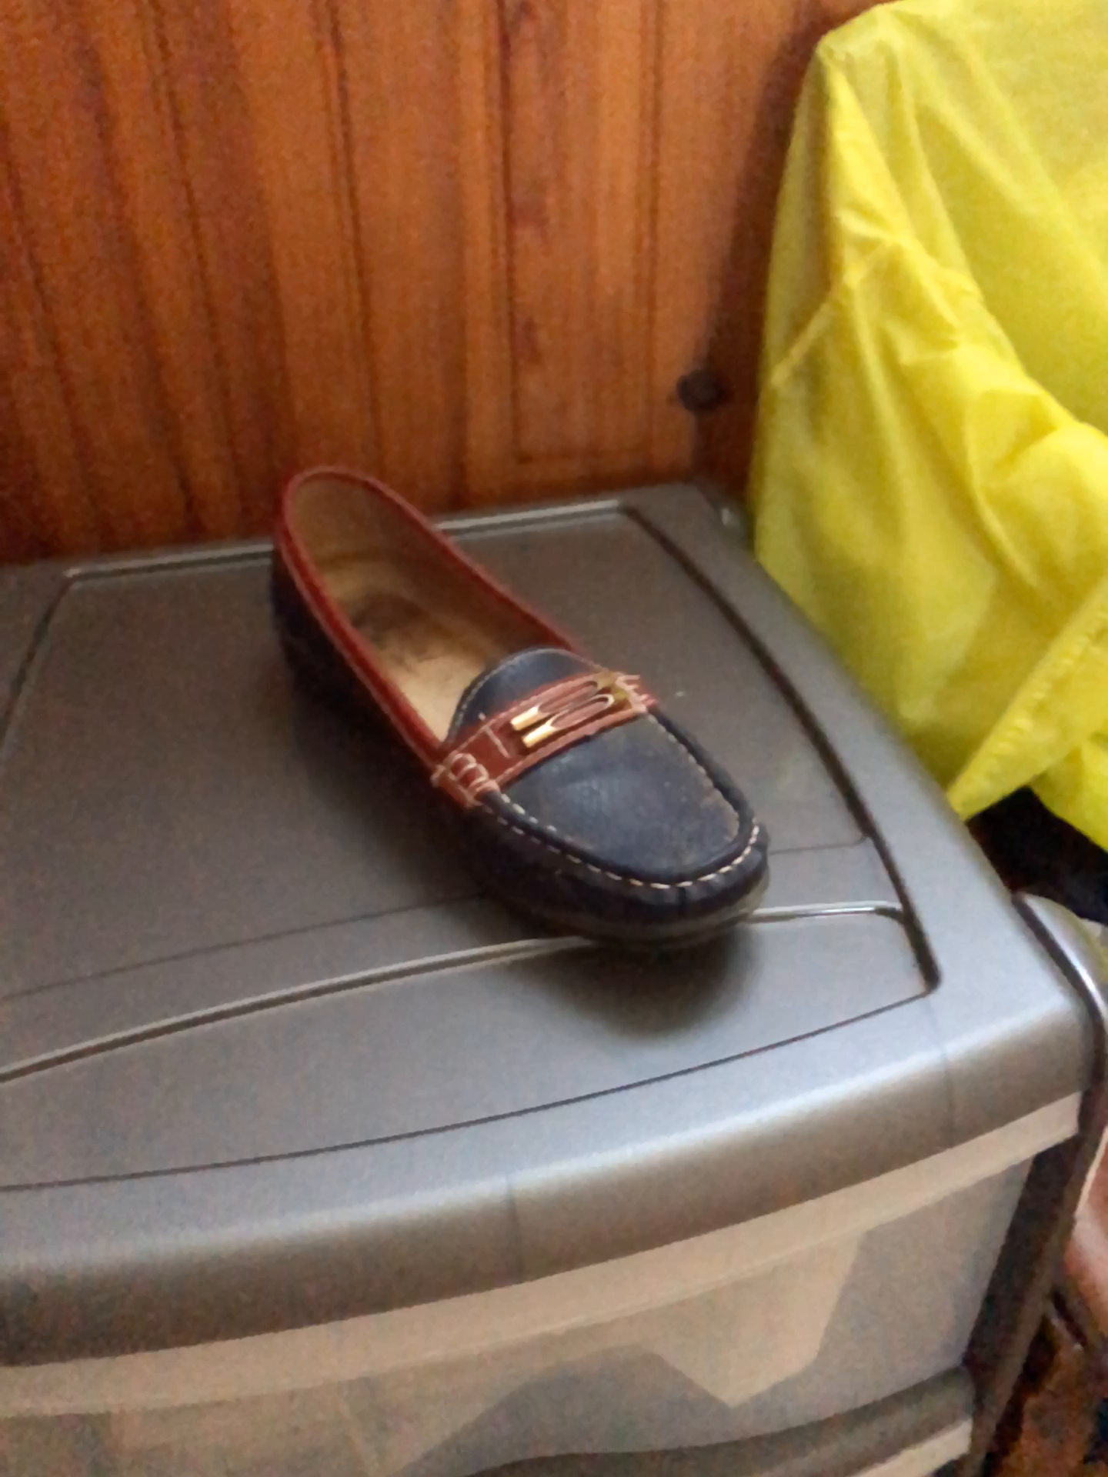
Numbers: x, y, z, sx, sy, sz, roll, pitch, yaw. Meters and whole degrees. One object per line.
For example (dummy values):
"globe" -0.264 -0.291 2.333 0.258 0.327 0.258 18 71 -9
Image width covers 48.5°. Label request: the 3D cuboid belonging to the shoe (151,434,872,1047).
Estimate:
"shoe" -0.030 -0.021 0.424 0.100 0.070 0.260 -26 42 -30
